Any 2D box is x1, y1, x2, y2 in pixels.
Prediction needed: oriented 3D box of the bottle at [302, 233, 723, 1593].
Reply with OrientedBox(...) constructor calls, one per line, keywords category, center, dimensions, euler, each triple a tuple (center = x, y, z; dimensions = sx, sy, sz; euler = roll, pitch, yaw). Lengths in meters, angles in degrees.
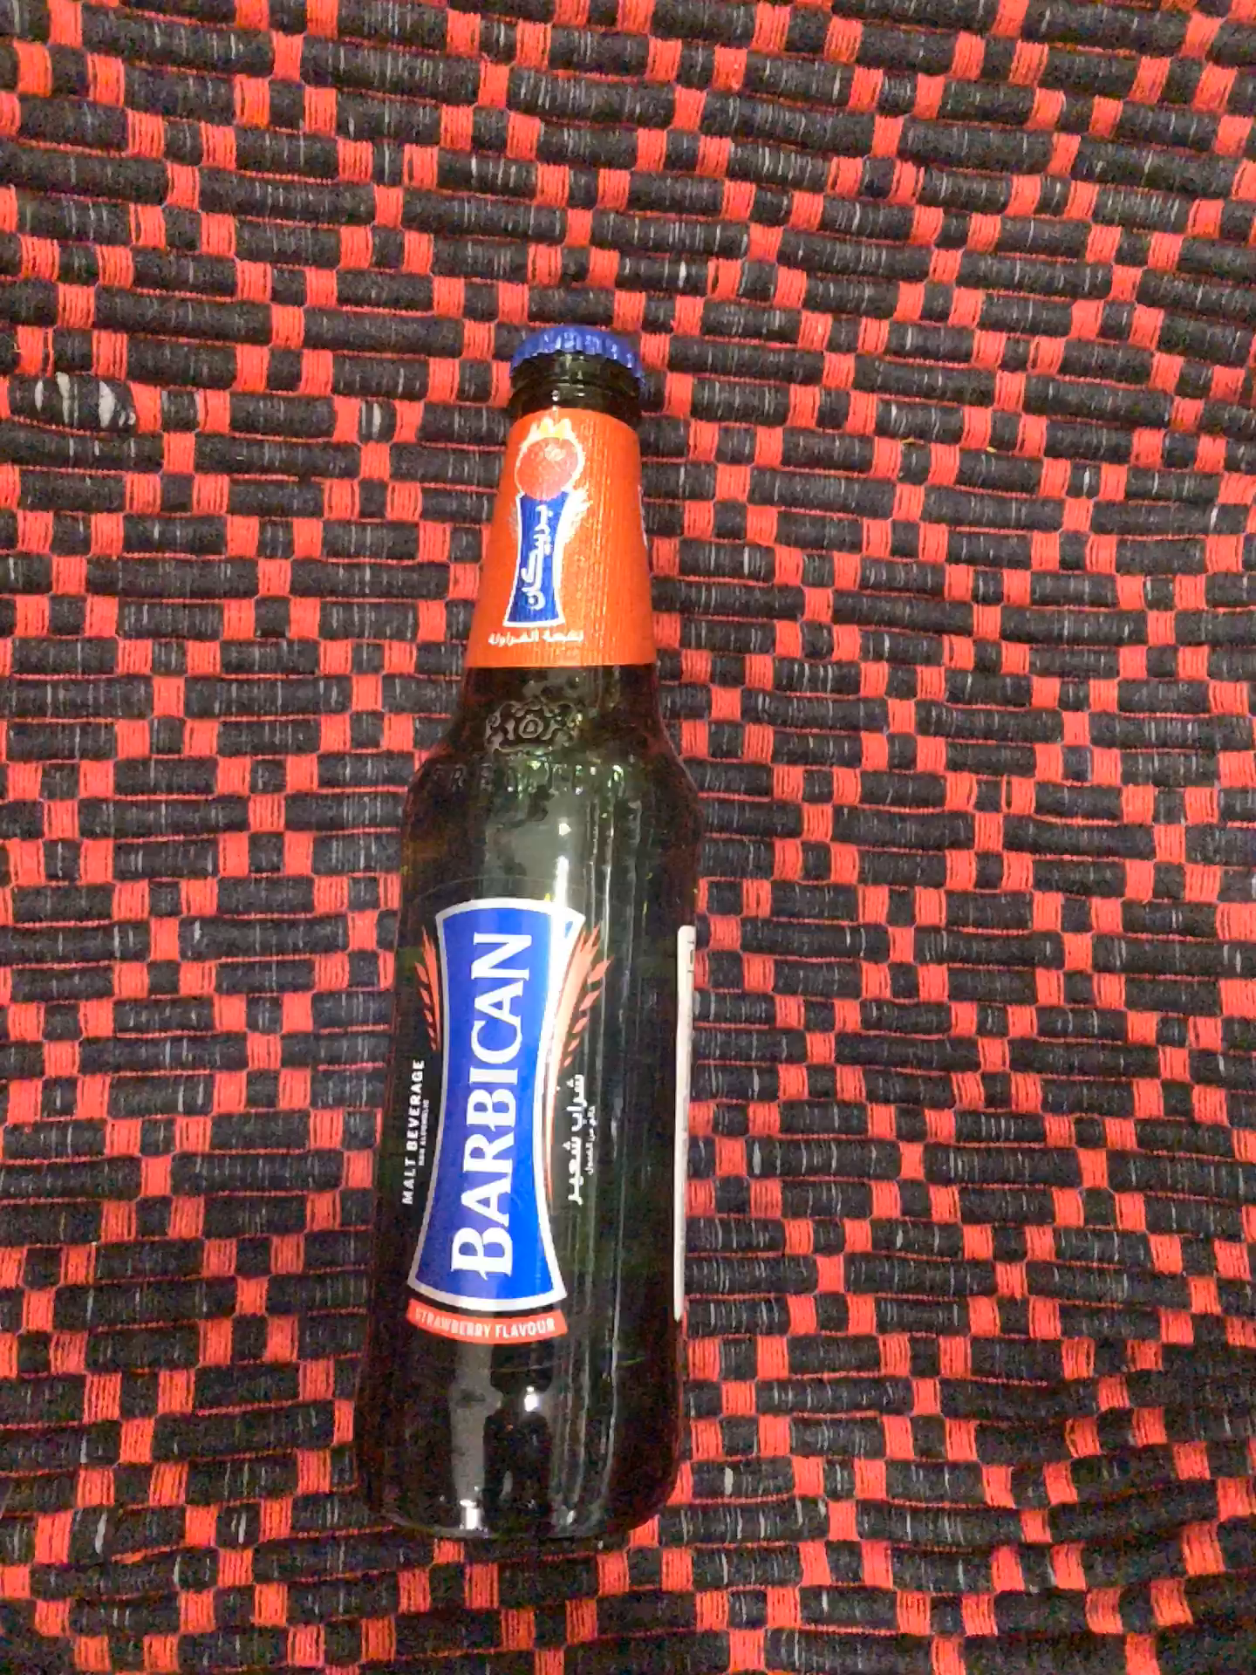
OrientedBox(category="bottle", center=(-0.014, 0.009, 0.247), dimensions=(0.060, 0.070, 0.220), euler=(-1, 80, 8))
